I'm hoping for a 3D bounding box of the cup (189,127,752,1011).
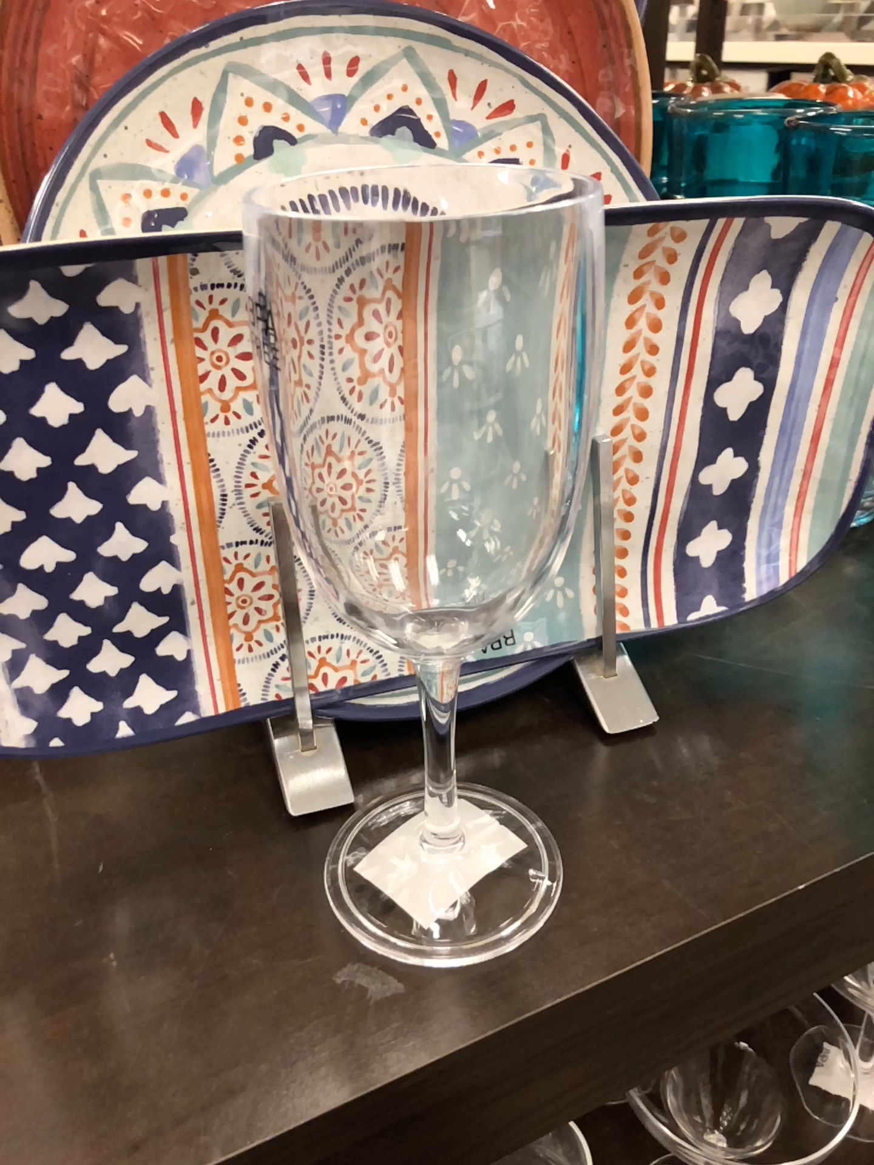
[{"bbox_3d":[0.005,-0.004,0.255,0.090,0.200,0.085,-1,29,1],"label":"cup"}]
